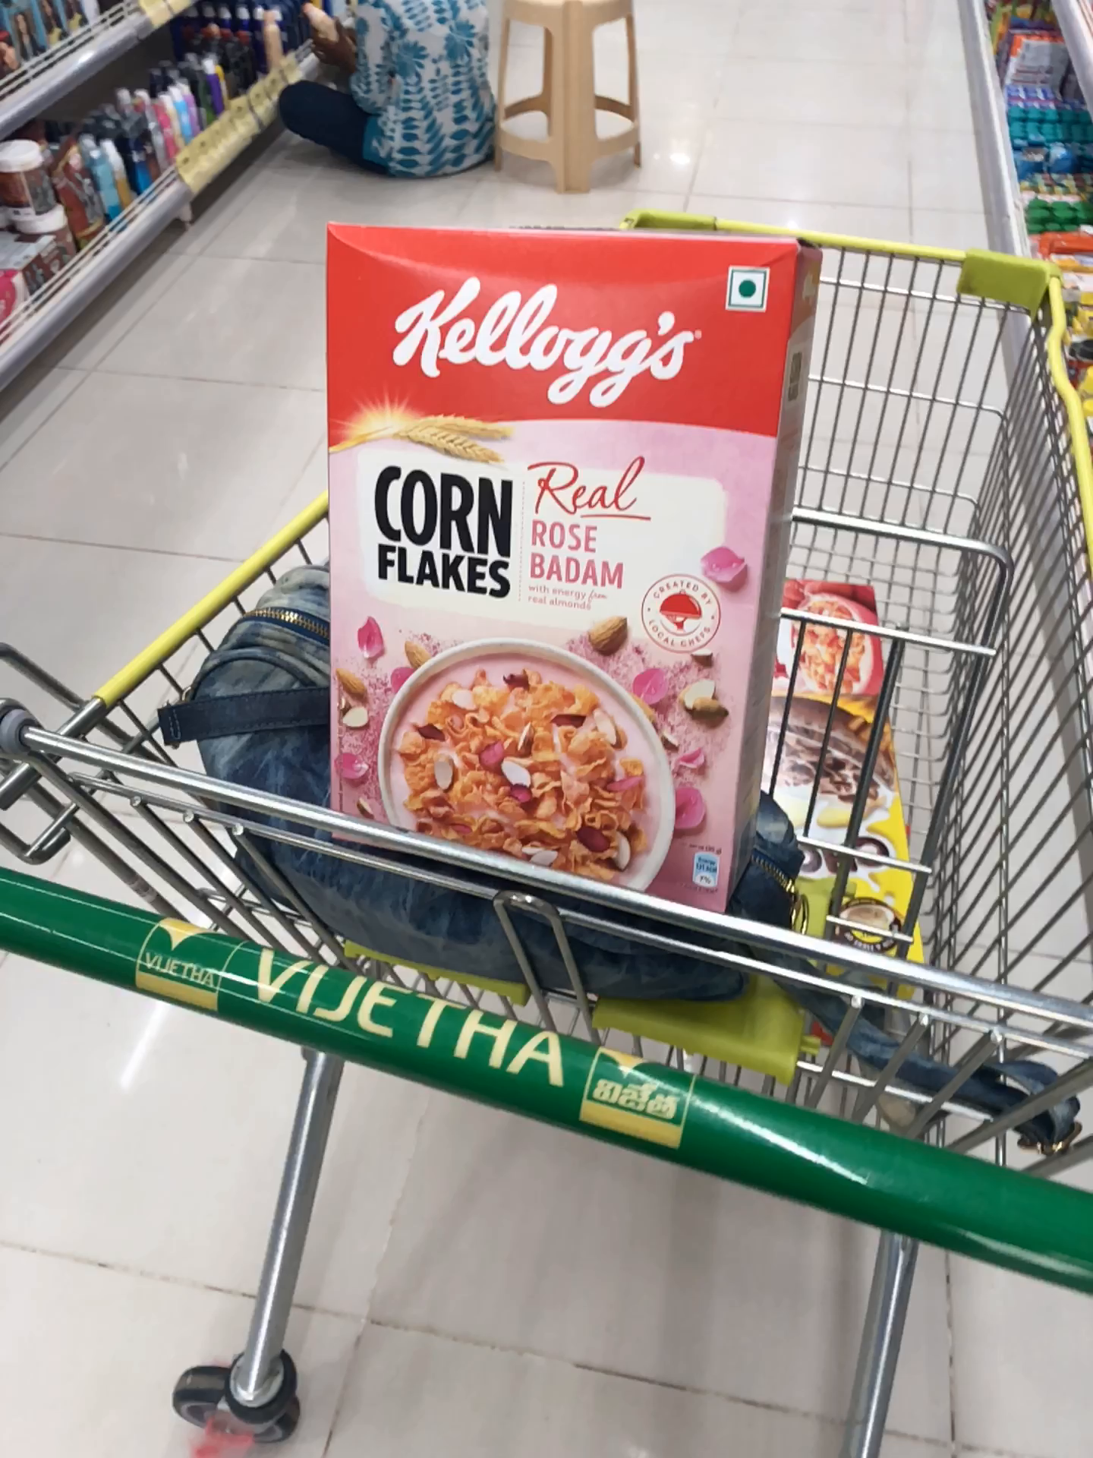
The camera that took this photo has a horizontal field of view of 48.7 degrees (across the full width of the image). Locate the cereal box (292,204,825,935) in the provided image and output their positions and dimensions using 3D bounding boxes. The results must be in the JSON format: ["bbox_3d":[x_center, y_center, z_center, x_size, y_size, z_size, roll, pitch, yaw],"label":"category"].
[{"bbox_3d":[0.001,-0.068,0.516,0.190,0.279,0.070,10,26,16],"label":"cereal box"}]
